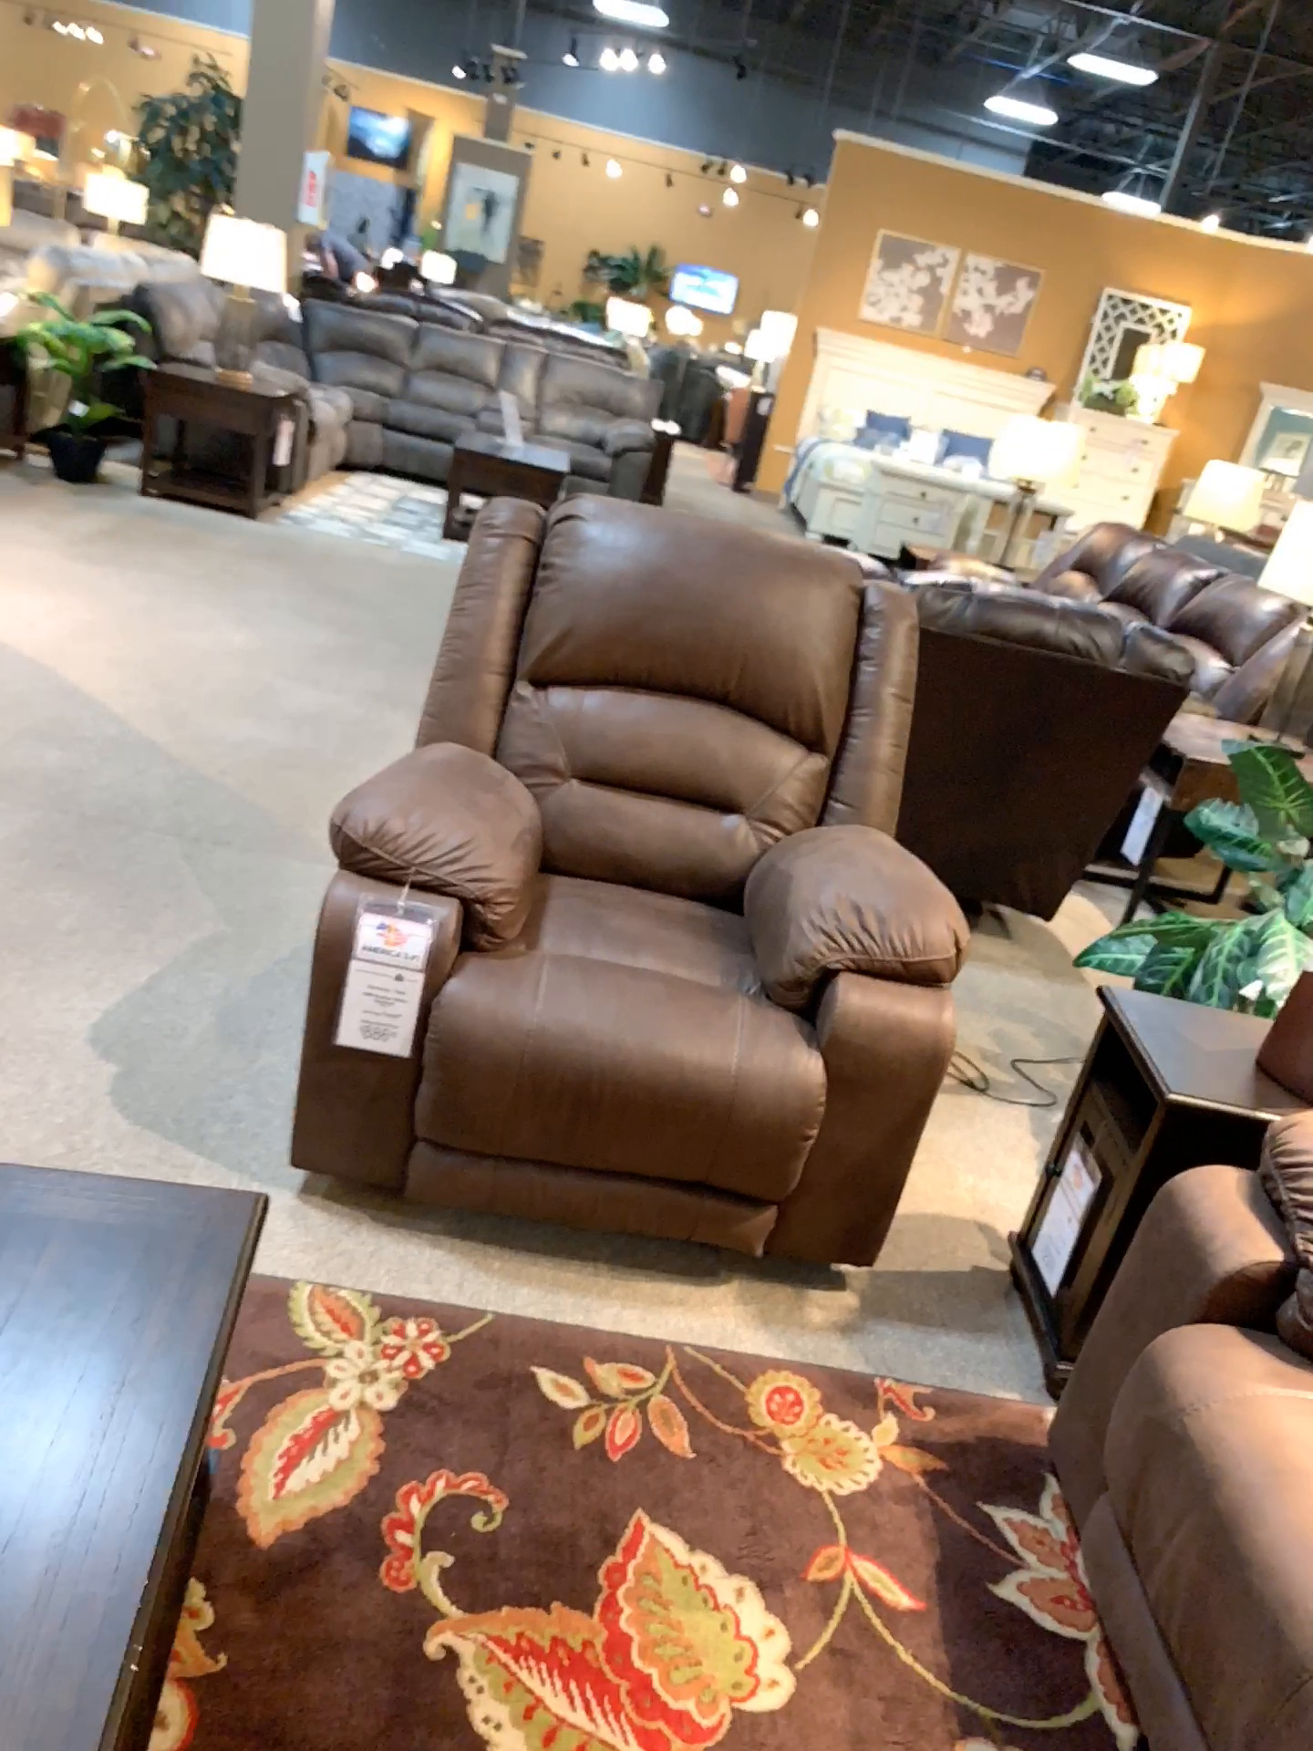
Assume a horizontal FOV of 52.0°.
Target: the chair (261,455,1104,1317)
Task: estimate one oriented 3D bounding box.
[{"bbox_3d":[-0.003,-0.066,2.420,1.000,1.027,1.069,12,22,-4],"label":"chair"}]
